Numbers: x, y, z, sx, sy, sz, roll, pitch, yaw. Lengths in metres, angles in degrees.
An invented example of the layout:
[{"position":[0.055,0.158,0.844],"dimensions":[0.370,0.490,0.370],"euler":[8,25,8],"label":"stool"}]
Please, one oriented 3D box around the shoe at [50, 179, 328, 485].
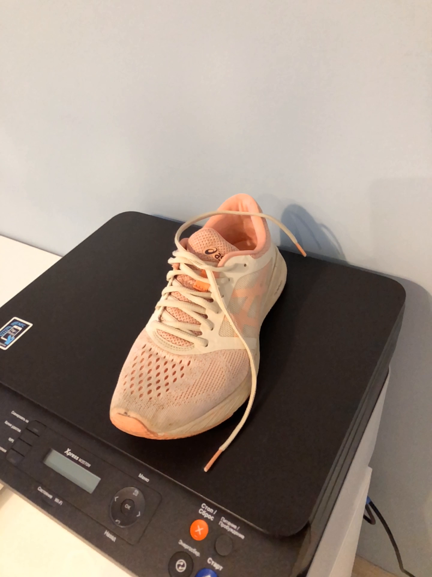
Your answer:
[{"position":[-0.001,0.014,0.417],"dimensions":[0.116,0.089,0.254],"euler":[15,47,25],"label":"shoe"}]
